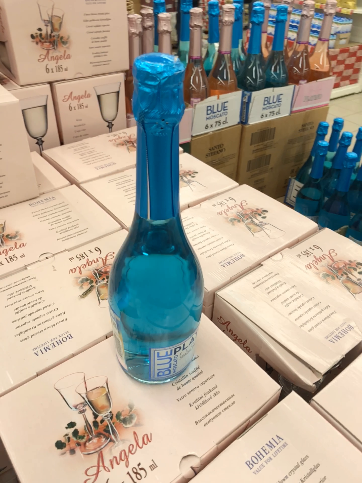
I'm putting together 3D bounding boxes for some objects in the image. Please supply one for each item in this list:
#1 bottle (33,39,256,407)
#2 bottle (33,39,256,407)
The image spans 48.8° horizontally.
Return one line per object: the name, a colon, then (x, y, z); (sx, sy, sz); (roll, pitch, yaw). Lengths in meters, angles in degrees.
bottle: (-0.026, -0.003, 0.337); (0.100, 0.278, 0.100); (2, 37, -1)
bottle: (-0.026, -0.003, 0.337); (0.100, 0.278, 0.100); (2, 37, -1)
